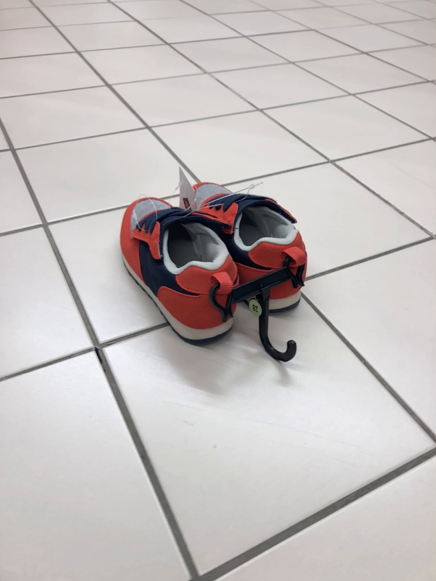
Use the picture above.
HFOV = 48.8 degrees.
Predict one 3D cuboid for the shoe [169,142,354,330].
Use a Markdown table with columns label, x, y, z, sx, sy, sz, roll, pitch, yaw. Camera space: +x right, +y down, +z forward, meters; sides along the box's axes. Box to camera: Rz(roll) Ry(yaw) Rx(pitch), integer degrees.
| label | x | y | z | sx | sy | sz | roll | pitch | yaw |
| --- | --- | --- | --- | --- | --- | --- | --- | --- | --- |
| shoe | 0.030 | -0.064 | 0.477 | 0.082 | 0.083 | 0.187 | -19 | 46 | -24 |

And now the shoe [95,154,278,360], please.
| label | x | y | z | sx | sy | sz | roll | pitch | yaw |
| --- | --- | --- | --- | --- | --- | --- | --- | --- | --- |
| shoe | -0.037 | -0.041 | 0.448 | 0.082 | 0.083 | 0.189 | -19 | 46 | -24 |
